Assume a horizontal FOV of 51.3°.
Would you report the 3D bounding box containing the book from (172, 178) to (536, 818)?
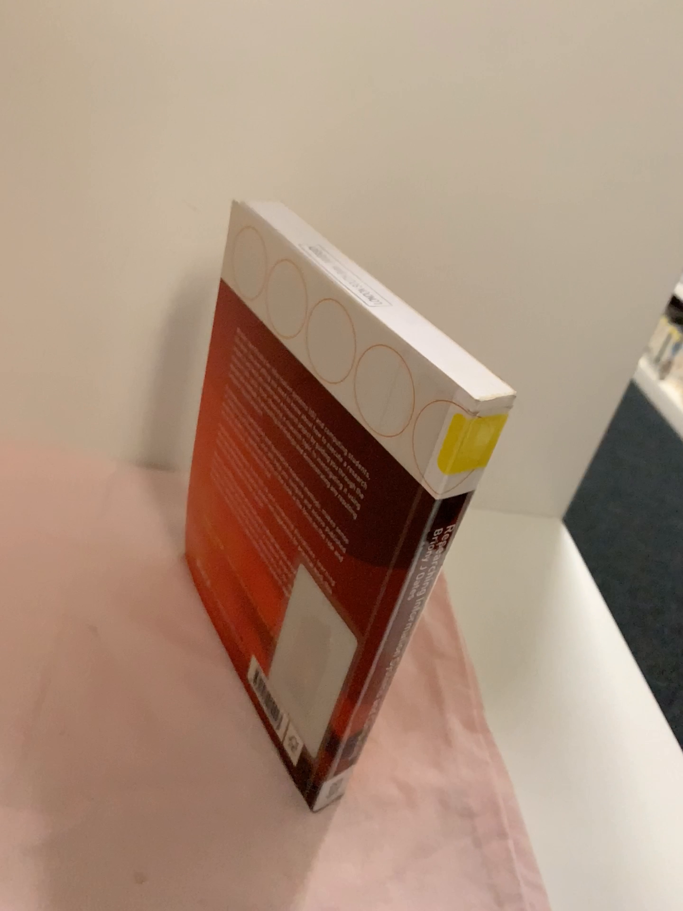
[{"bbox_3d":[-0.025,0.018,0.352,0.026,0.238,0.202,-7,39,-32],"label":"book"}]
